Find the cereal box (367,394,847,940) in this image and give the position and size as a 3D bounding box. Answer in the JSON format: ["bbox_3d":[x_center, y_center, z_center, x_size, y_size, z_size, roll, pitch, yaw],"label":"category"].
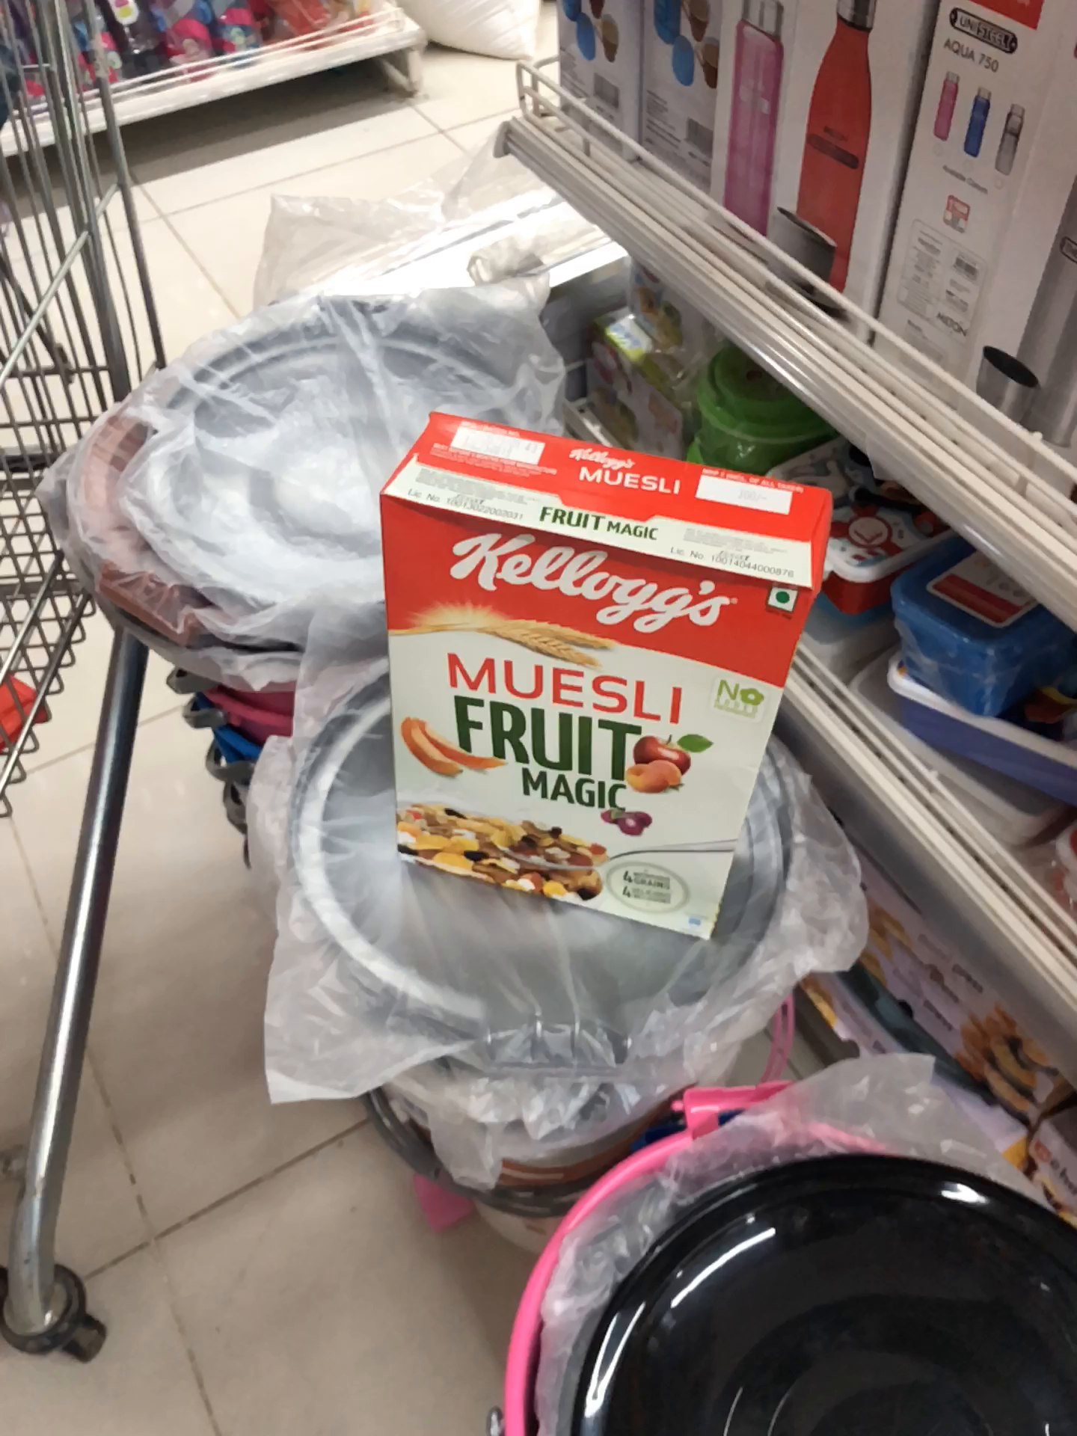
[{"bbox_3d":[0.024,-0.014,0.590,0.190,0.249,0.070,14,47,9],"label":"cereal box"}]
